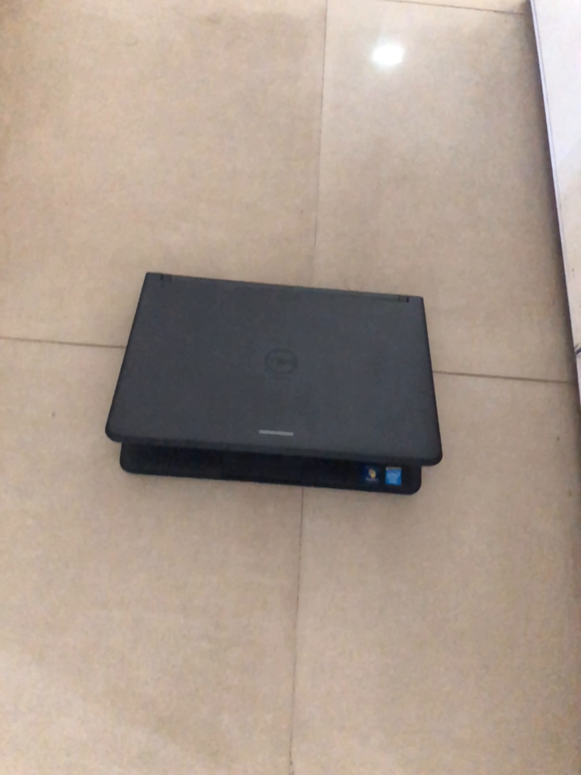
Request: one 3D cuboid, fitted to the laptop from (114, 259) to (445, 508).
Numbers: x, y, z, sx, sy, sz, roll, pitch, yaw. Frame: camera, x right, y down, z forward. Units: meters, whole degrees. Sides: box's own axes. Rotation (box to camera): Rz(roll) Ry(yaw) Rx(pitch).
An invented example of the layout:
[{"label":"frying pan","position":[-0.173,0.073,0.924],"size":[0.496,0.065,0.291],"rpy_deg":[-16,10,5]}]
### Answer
[{"label":"laptop","position":[-0.005,-0.004,0.676],"size":[0.314,0.064,0.220],"rpy_deg":[6,74,-1]}]
